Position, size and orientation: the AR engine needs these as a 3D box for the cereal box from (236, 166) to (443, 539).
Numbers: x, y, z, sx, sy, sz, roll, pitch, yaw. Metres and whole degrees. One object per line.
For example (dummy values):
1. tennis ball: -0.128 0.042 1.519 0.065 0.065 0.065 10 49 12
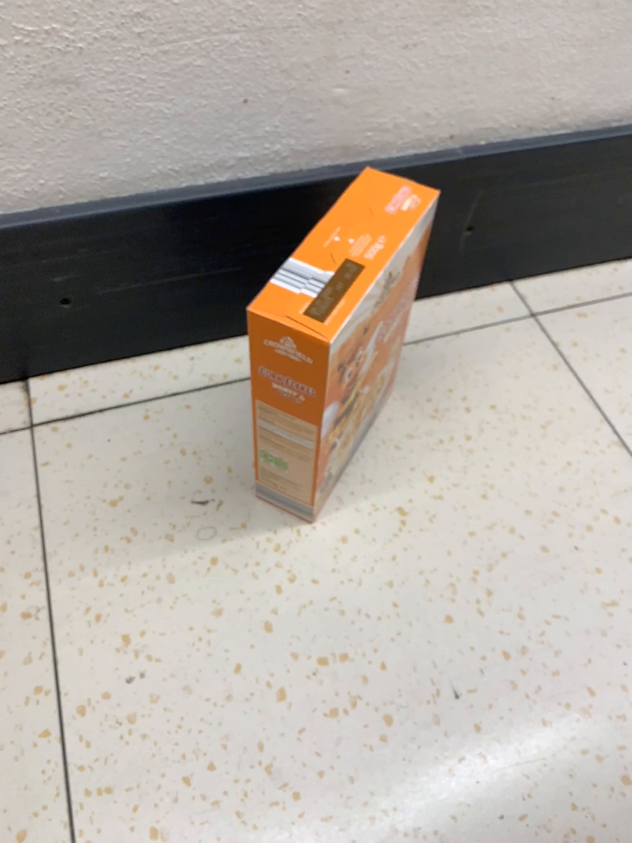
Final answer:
1. cereal box: 0.018 -0.050 0.591 0.070 0.268 0.201 25 56 14
